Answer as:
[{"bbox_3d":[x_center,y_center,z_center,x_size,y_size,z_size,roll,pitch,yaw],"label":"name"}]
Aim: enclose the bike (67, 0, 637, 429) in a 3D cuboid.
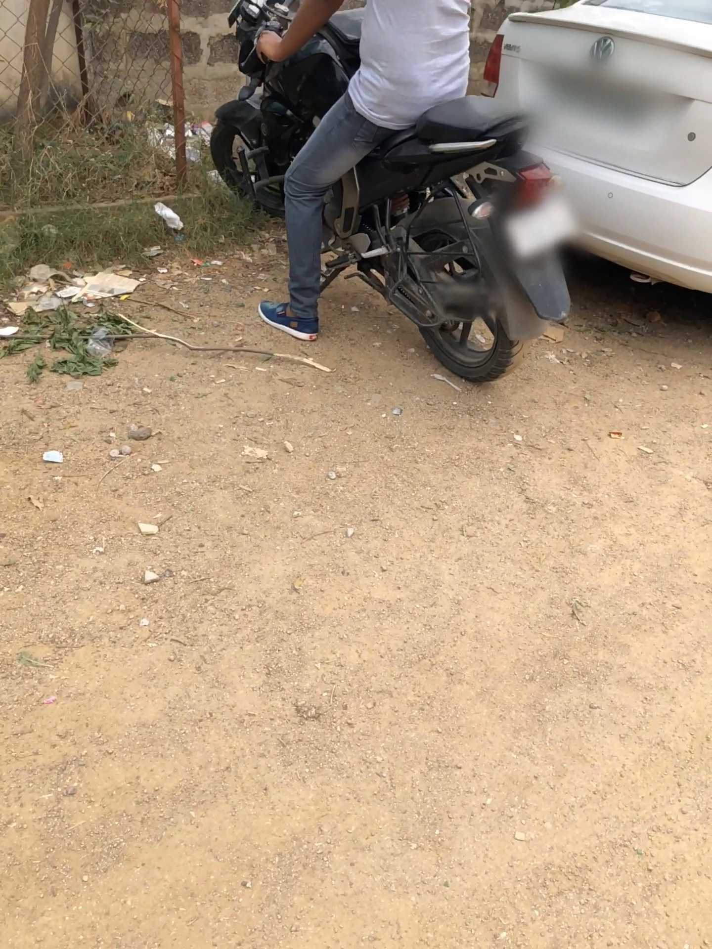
[{"bbox_3d":[-0.152,-1.117,2.331,0.529,1.094,1.621,-24,49,-37],"label":"bike"}]
